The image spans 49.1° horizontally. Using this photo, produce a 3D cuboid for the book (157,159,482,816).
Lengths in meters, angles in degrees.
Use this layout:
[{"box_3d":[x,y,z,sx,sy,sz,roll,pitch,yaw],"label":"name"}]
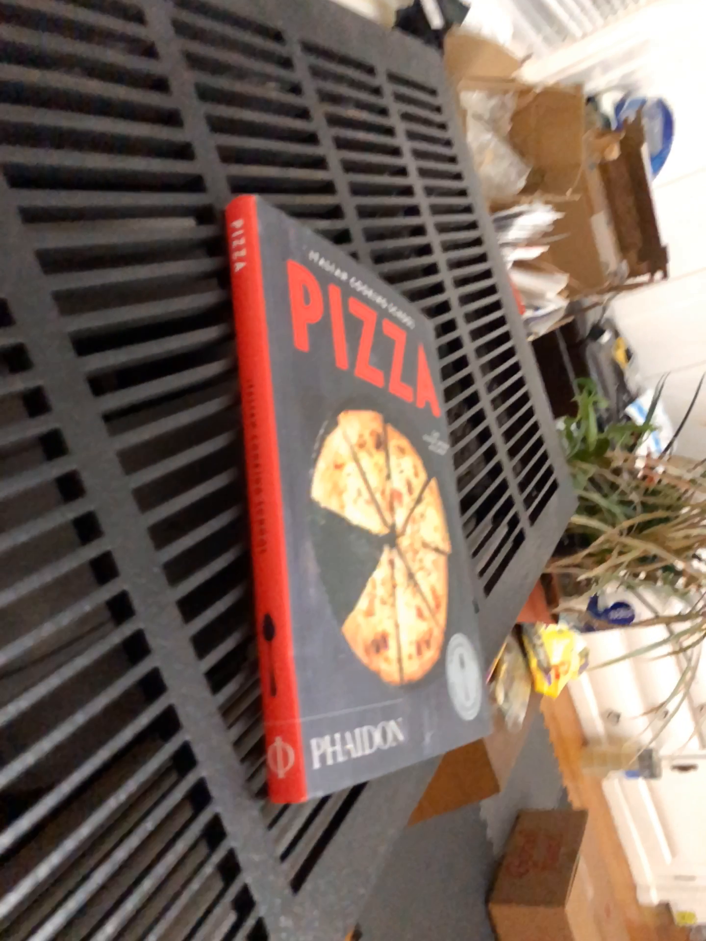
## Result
[{"box_3d":[-0.006,0.009,0.342,0.181,0.020,0.230,15,64,-56],"label":"book"}]
